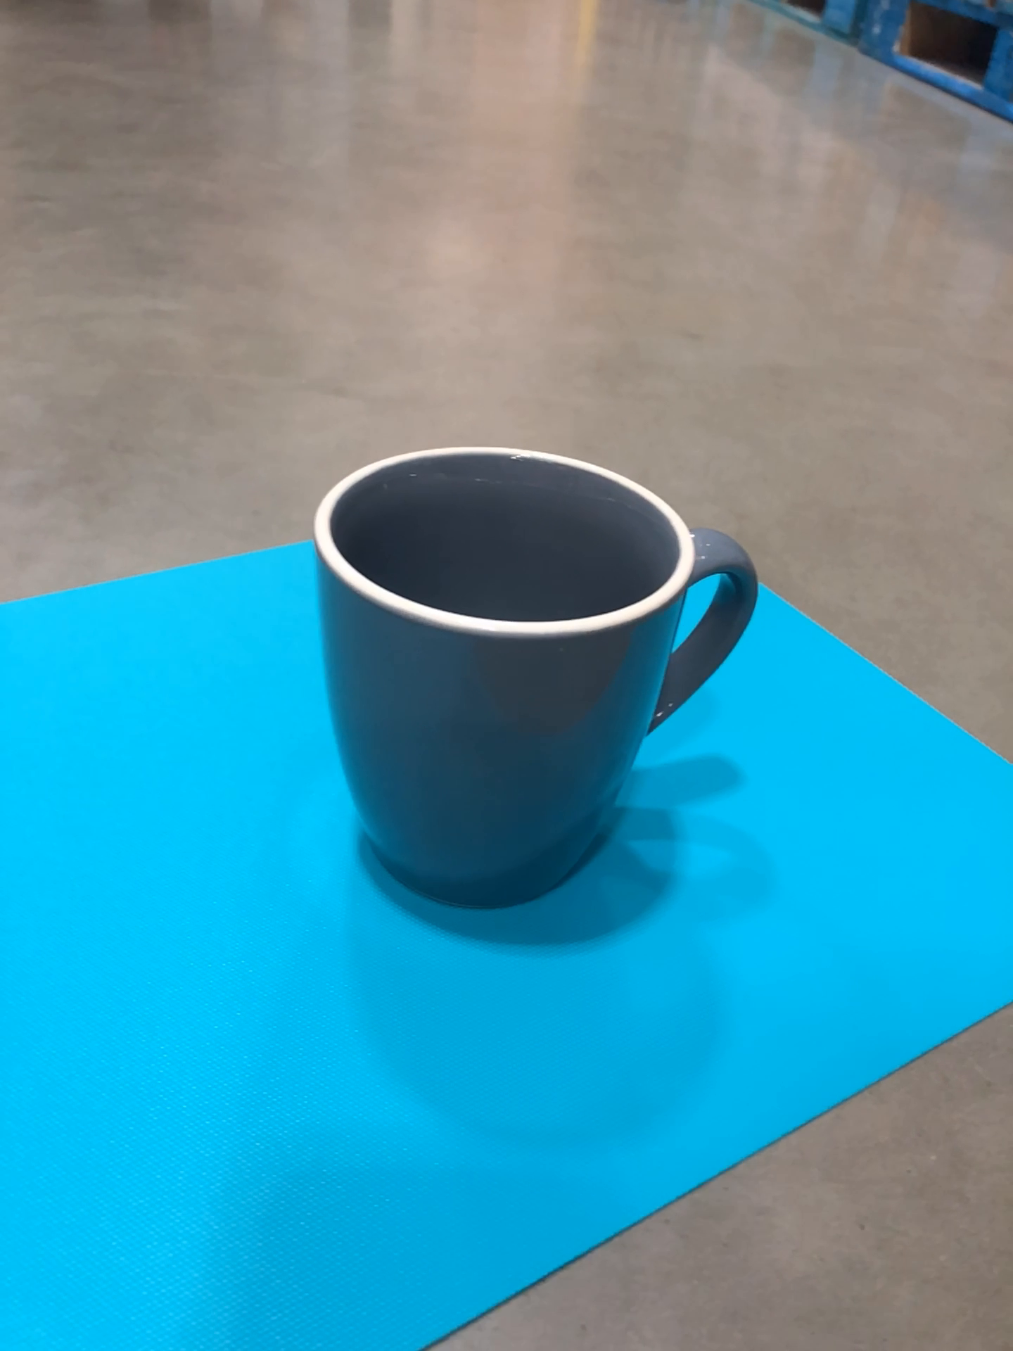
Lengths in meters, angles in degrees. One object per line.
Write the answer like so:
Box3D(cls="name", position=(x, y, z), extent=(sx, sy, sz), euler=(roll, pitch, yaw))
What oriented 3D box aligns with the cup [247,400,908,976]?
Box3D(cls="cup", position=(0.015, -0.007, 0.291), extent=(0.130, 0.080, 0.090), euler=(-19, 42, -31))
